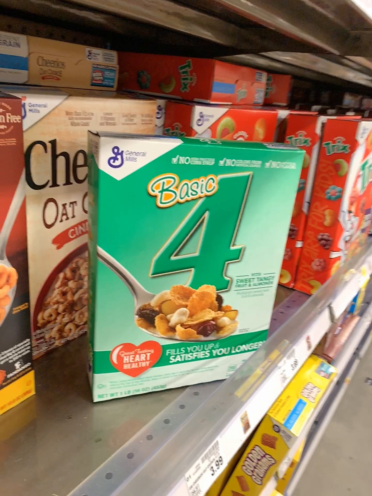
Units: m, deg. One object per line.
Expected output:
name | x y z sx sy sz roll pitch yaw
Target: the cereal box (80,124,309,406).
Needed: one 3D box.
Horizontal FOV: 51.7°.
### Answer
cereal box | 0.000 0.020 0.388 0.200 0.259 0.050 -2 22 -22
